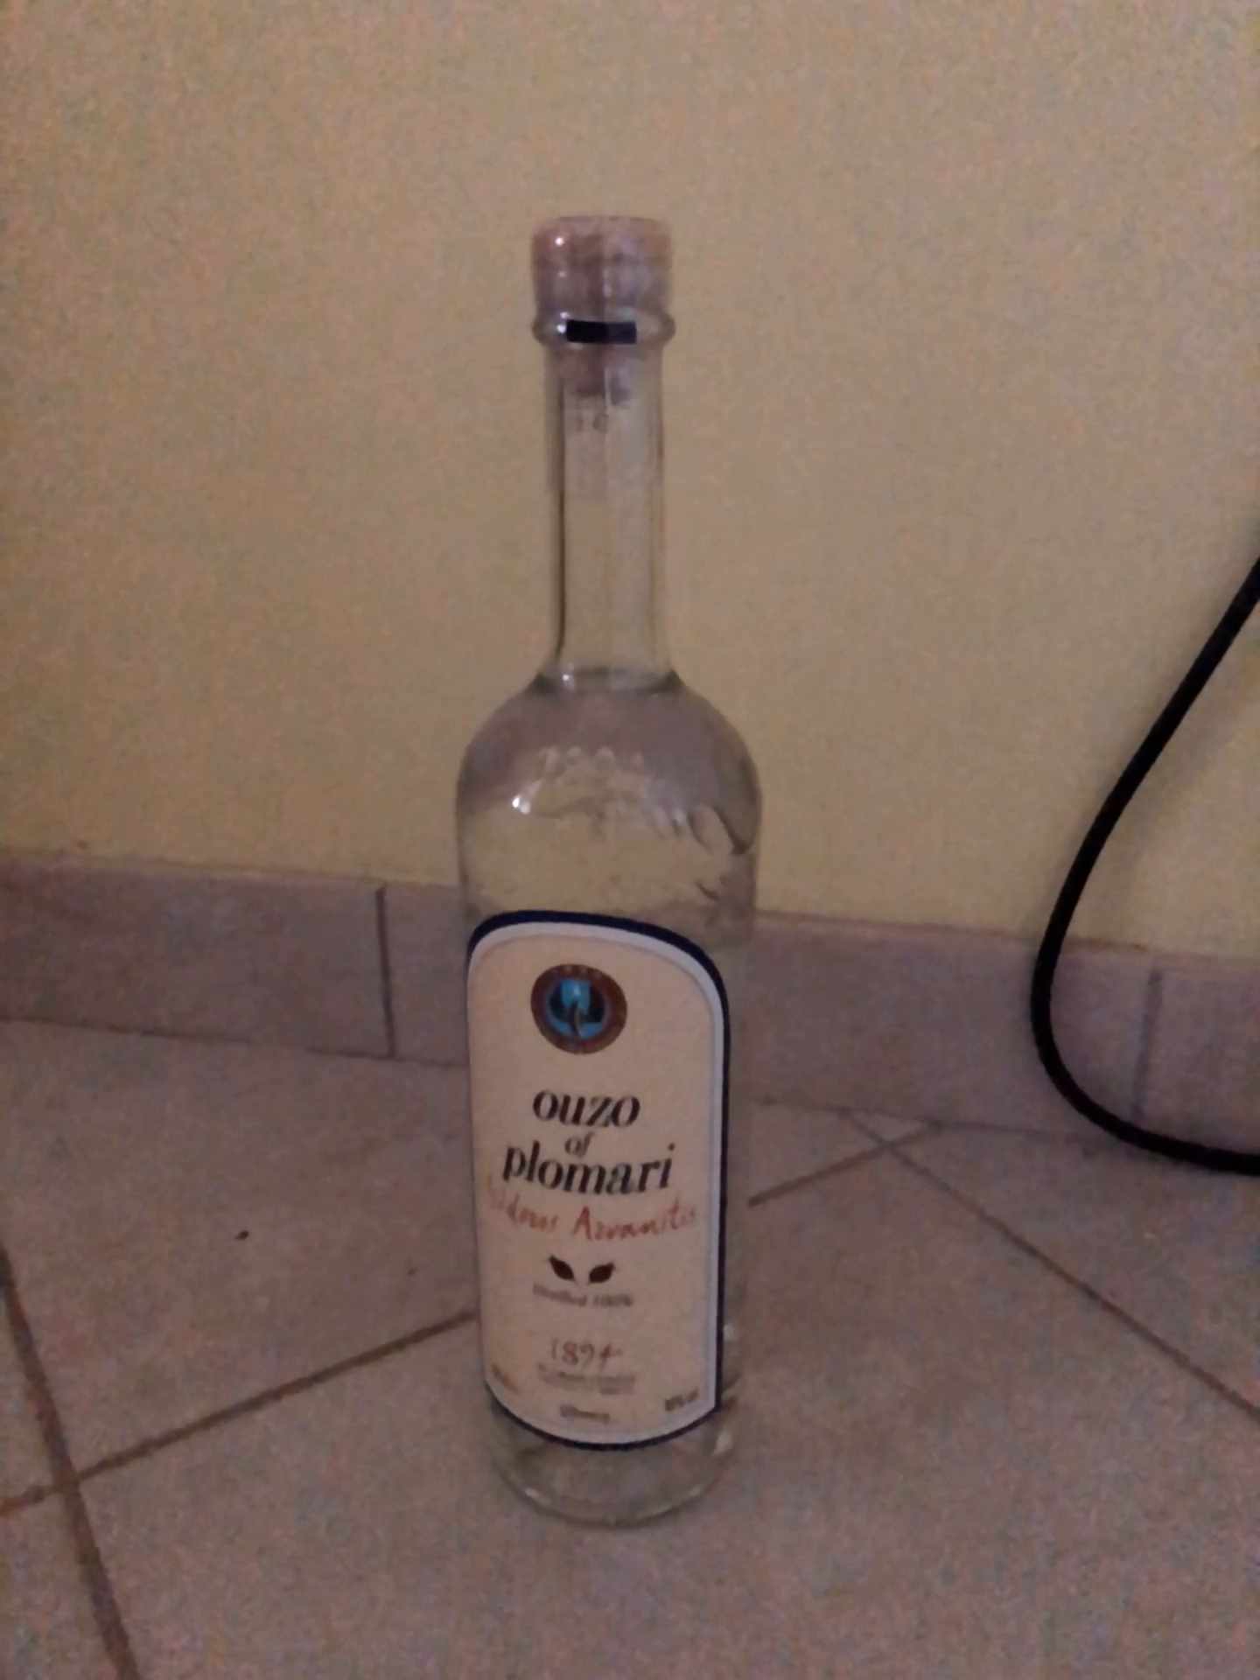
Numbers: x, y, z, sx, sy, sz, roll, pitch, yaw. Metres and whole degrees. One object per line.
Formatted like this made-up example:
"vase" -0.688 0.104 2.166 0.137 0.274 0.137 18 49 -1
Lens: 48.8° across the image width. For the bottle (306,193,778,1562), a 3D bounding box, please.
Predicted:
"bottle" -0.011 0.020 0.339 0.080 0.318 0.080 0 22 0
